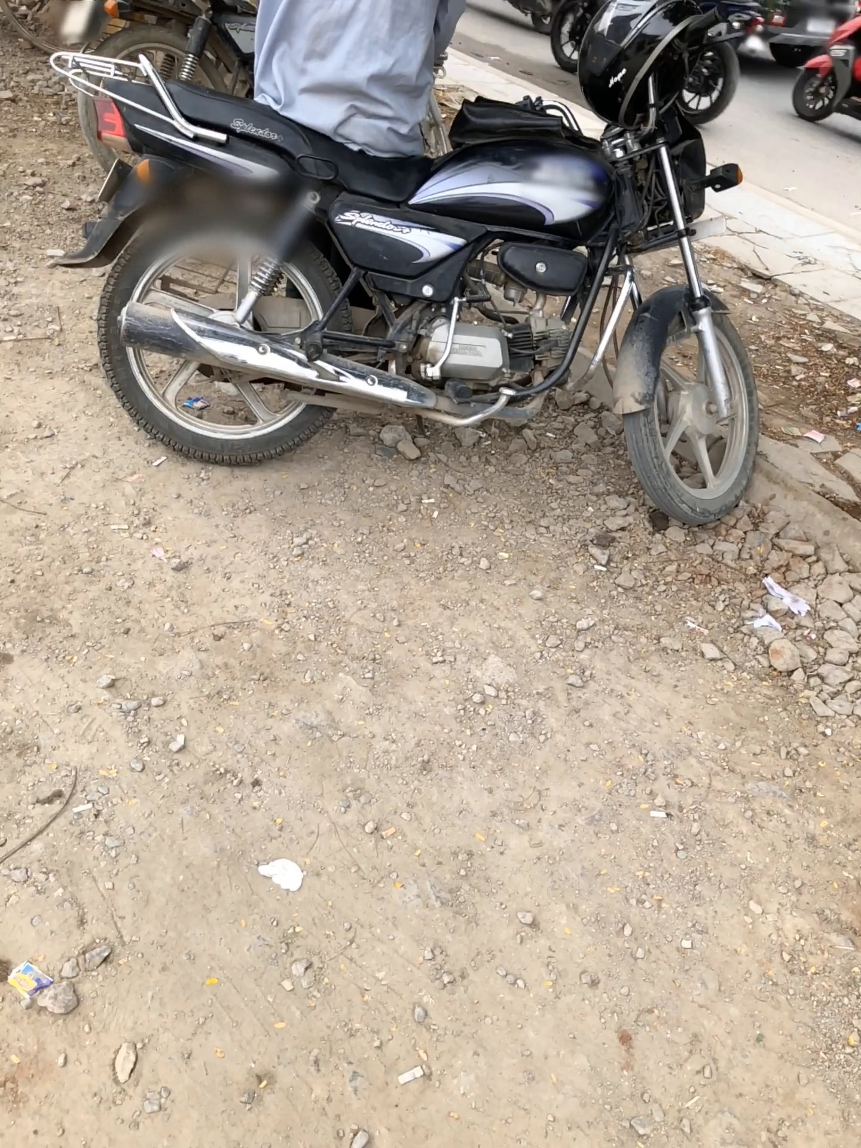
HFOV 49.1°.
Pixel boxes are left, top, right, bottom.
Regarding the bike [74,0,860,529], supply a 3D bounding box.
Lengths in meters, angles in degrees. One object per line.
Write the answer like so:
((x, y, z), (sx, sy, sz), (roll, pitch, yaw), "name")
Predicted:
((0.070, -0.829, 2.281), (1.595, 1.170, 0.743), (2, 39, -13), "bike")
